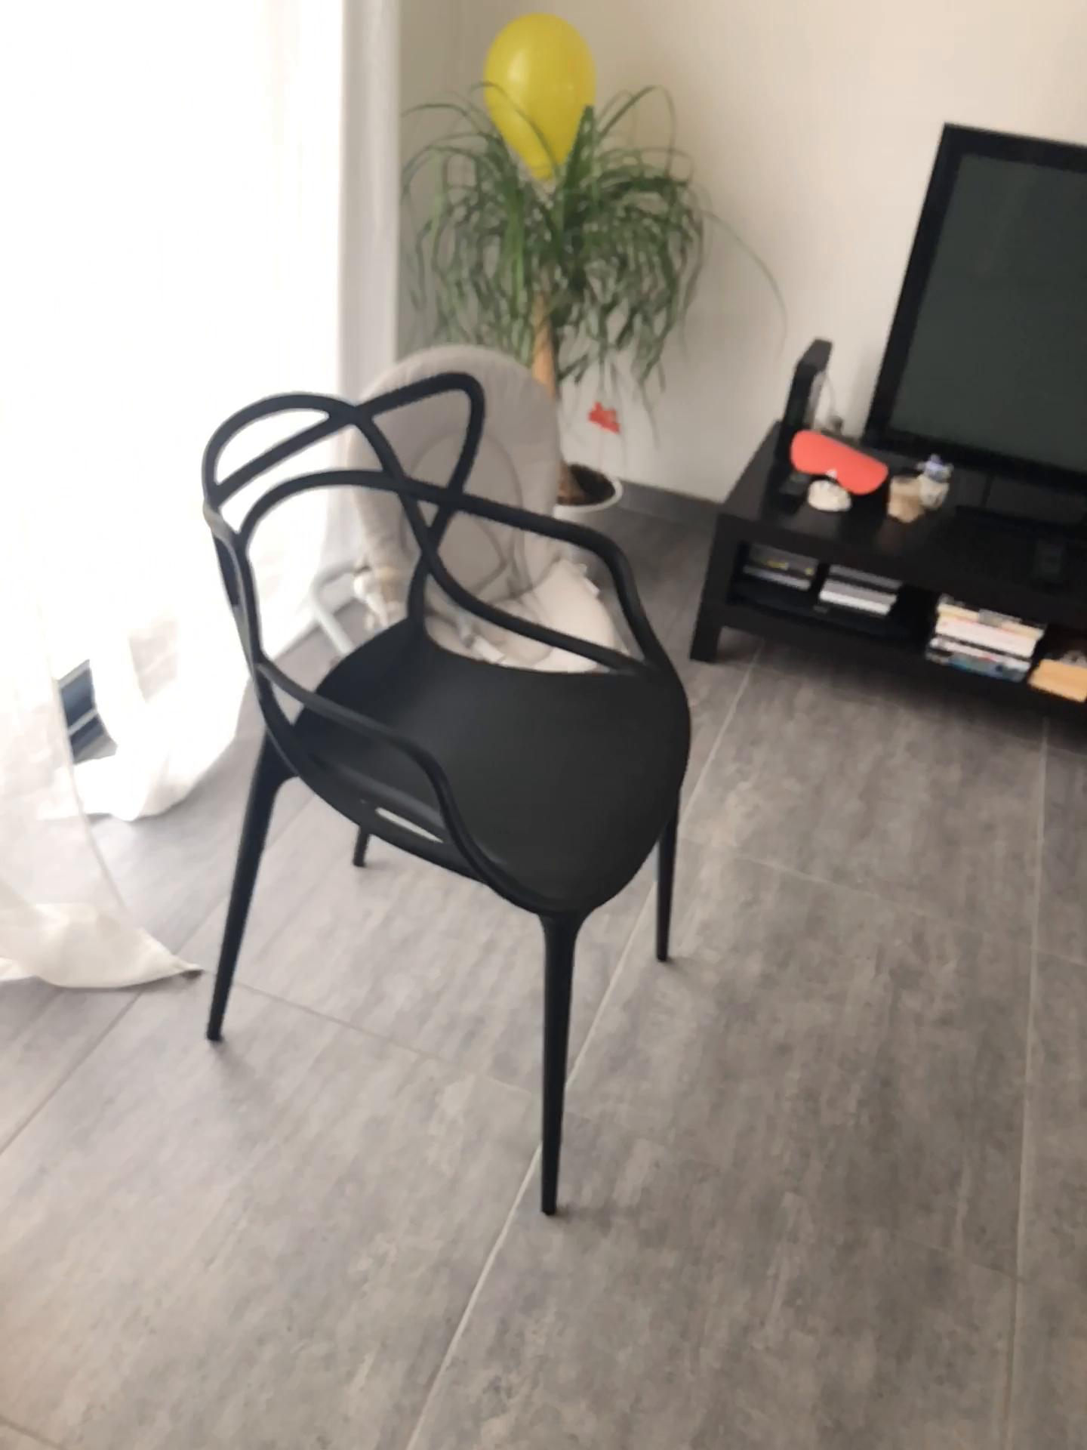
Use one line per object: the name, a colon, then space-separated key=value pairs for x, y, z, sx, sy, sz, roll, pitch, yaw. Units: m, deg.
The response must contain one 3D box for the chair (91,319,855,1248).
chair: x=-0.063 y=0.046 z=1.439 sx=0.585 sy=0.795 sz=0.566 roll=18 pitch=37 yaw=15
